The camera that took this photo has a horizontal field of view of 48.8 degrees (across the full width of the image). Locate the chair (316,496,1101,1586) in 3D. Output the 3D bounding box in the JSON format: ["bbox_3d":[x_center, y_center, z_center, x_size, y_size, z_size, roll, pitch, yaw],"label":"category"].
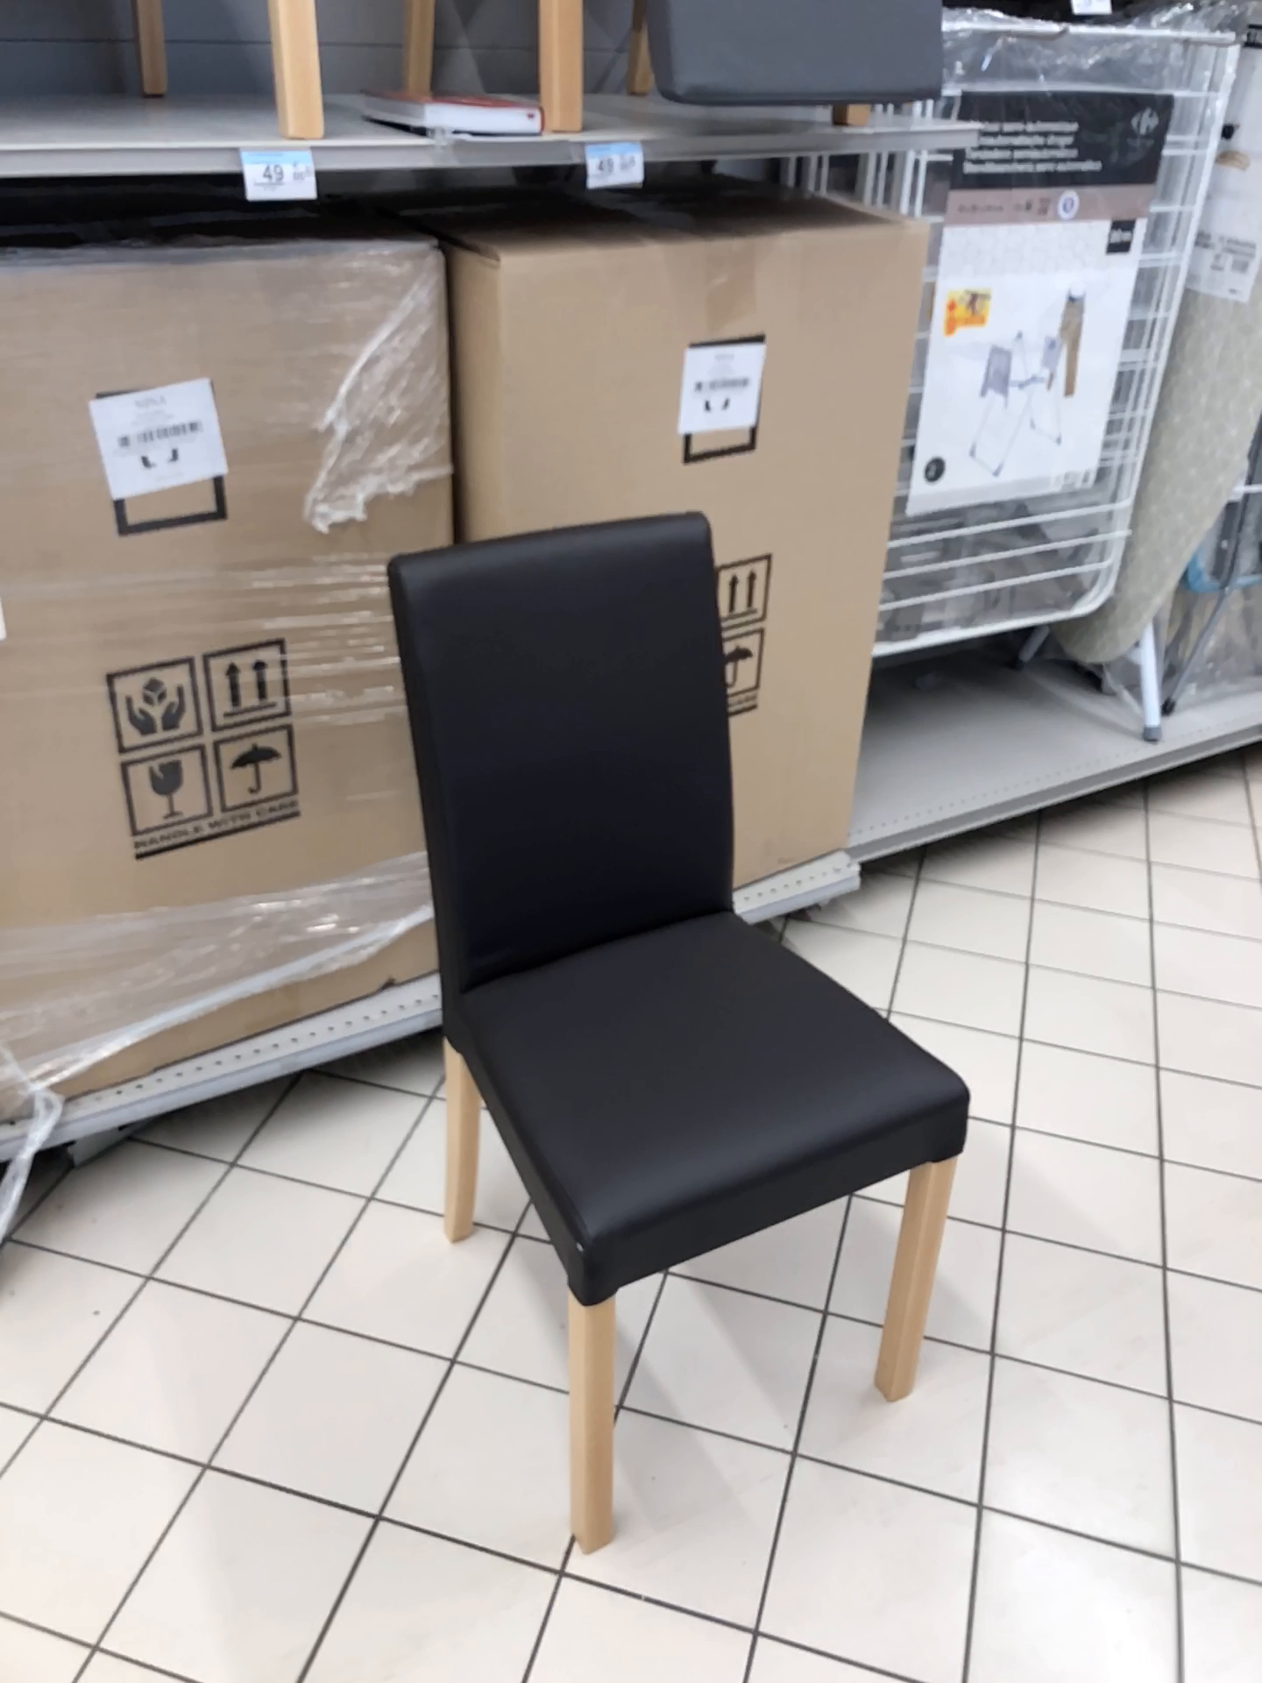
[{"bbox_3d":[0.022,0.173,1.460,0.452,0.855,0.591,-15,36,-26],"label":"chair"}]
